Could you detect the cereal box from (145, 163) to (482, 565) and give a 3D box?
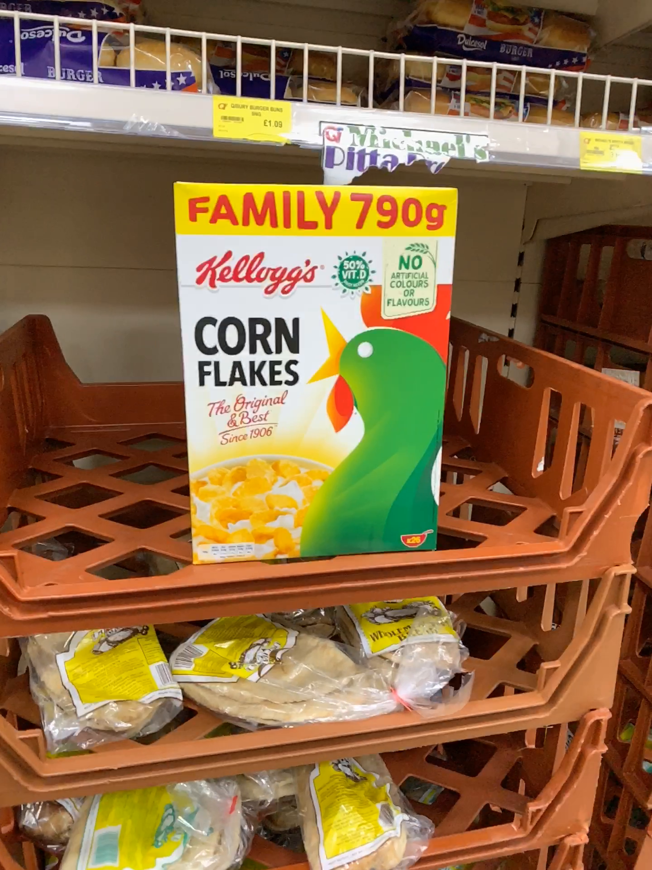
[{"bbox_3d":[-0.017,-0.061,0.619,0.270,0.338,0.091,-1,18,-10],"label":"cereal box"}]
